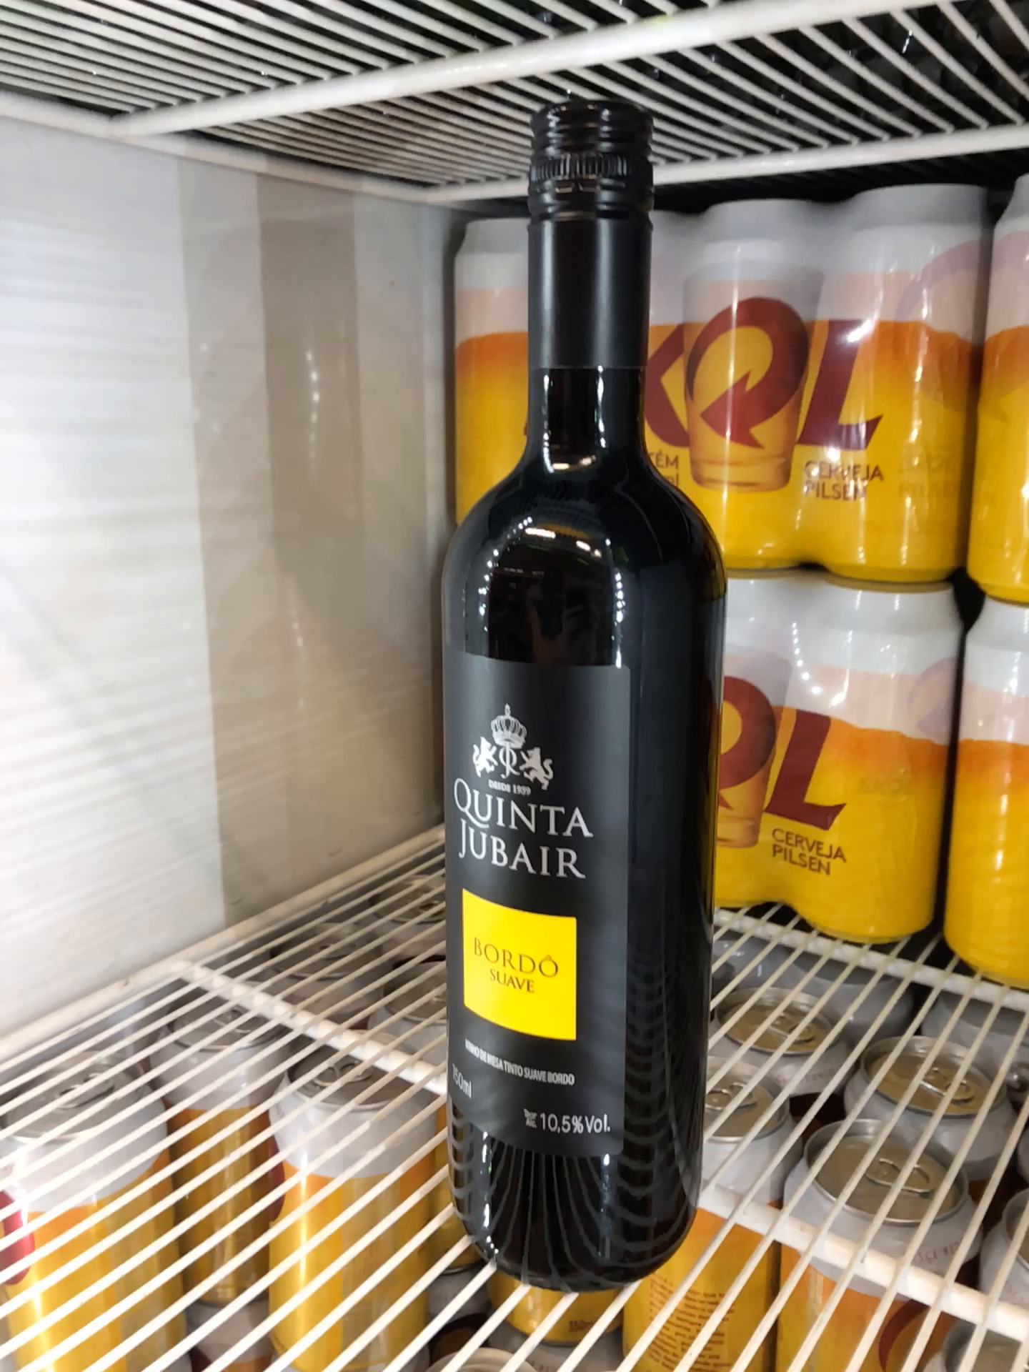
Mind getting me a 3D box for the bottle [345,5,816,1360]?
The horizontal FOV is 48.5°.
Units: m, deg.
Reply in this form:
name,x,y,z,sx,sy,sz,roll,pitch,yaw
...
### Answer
name,x,y,z,sx,sy,sz,roll,pitch,yaw
bottle,0.018,0.006,0.288,0.080,0.289,0.070,8,16,34
